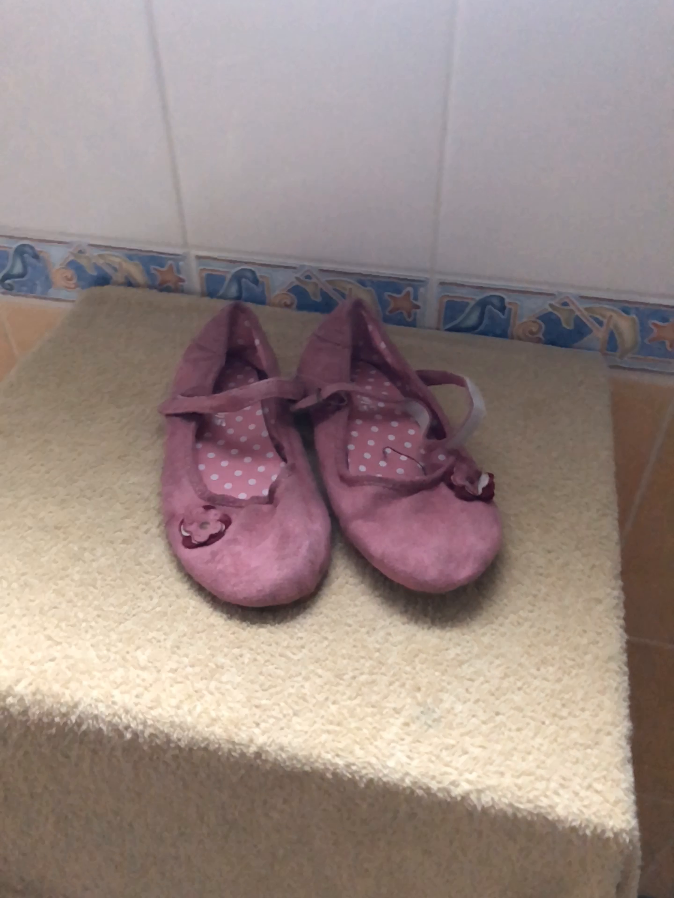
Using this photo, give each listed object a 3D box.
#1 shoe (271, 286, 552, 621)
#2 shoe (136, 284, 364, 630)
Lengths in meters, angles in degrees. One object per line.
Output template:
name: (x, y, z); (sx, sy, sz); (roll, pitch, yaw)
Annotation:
shoe: (0.030, -0.016, 0.460); (0.100, 0.050, 0.241); (-9, 42, -10)
shoe: (-0.063, -0.014, 0.447); (0.100, 0.050, 0.241); (-9, 42, -10)
